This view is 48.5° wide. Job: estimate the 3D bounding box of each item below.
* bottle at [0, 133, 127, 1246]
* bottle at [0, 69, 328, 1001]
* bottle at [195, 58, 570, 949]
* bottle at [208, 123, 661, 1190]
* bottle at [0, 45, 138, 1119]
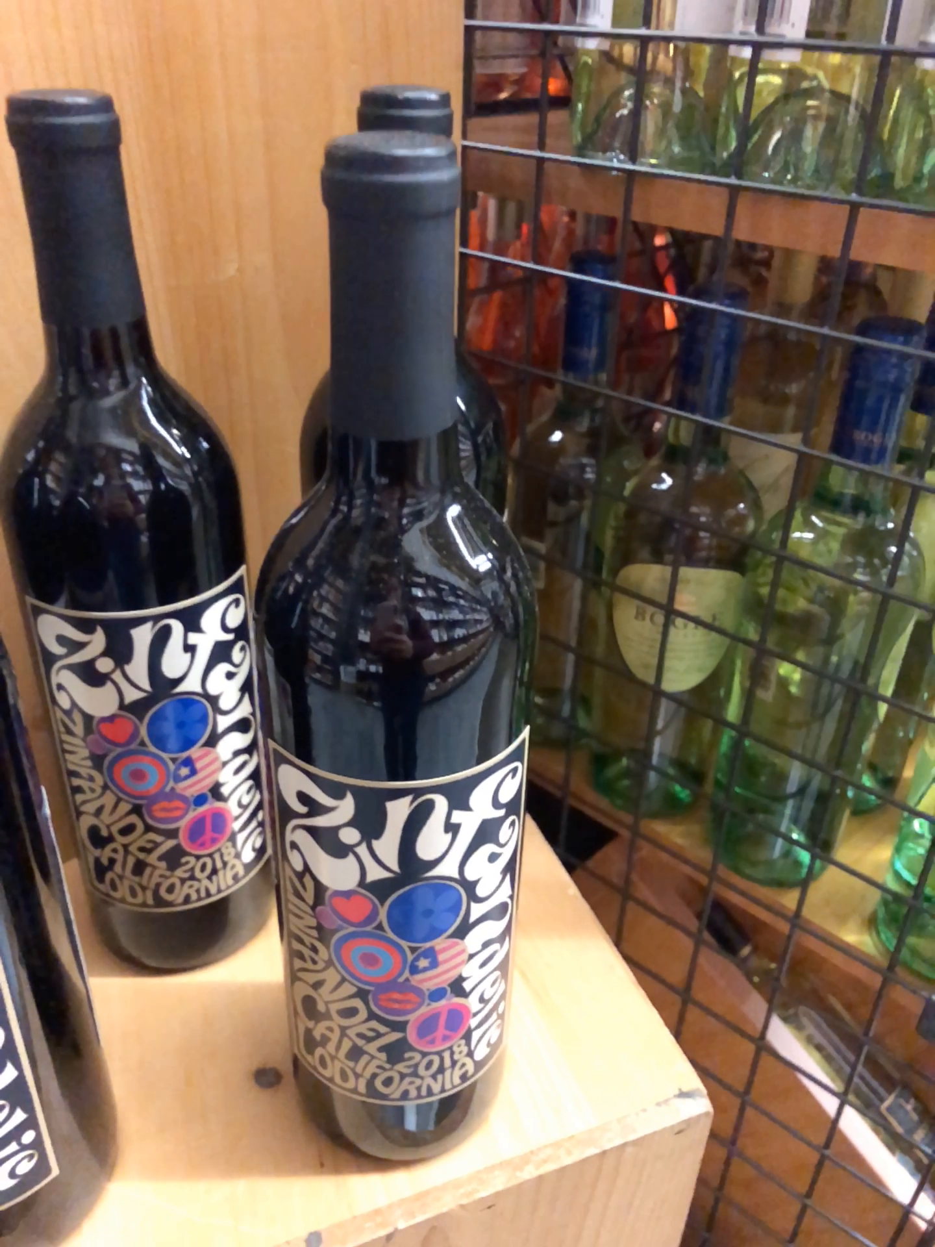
[{"bbox_3d":[-0.148,0.052,0.254,0.080,0.304,0.077,2,31,-1],"label":"bottle"},{"bbox_3d":[-0.105,-0.017,0.330,0.077,0.274,0.080,2,31,-1],"label":"bottle"},{"bbox_3d":[-0.028,-0.030,0.385,0.077,0.310,0.080,2,31,-1],"label":"bottle"},{"bbox_3d":[-0.016,0.027,0.280,0.073,0.286,0.070,2,31,-1],"label":"bottle"},{"bbox_3d":[-0.160,0.007,0.281,0.077,0.280,0.080,2,31,-1],"label":"bottle"}]
